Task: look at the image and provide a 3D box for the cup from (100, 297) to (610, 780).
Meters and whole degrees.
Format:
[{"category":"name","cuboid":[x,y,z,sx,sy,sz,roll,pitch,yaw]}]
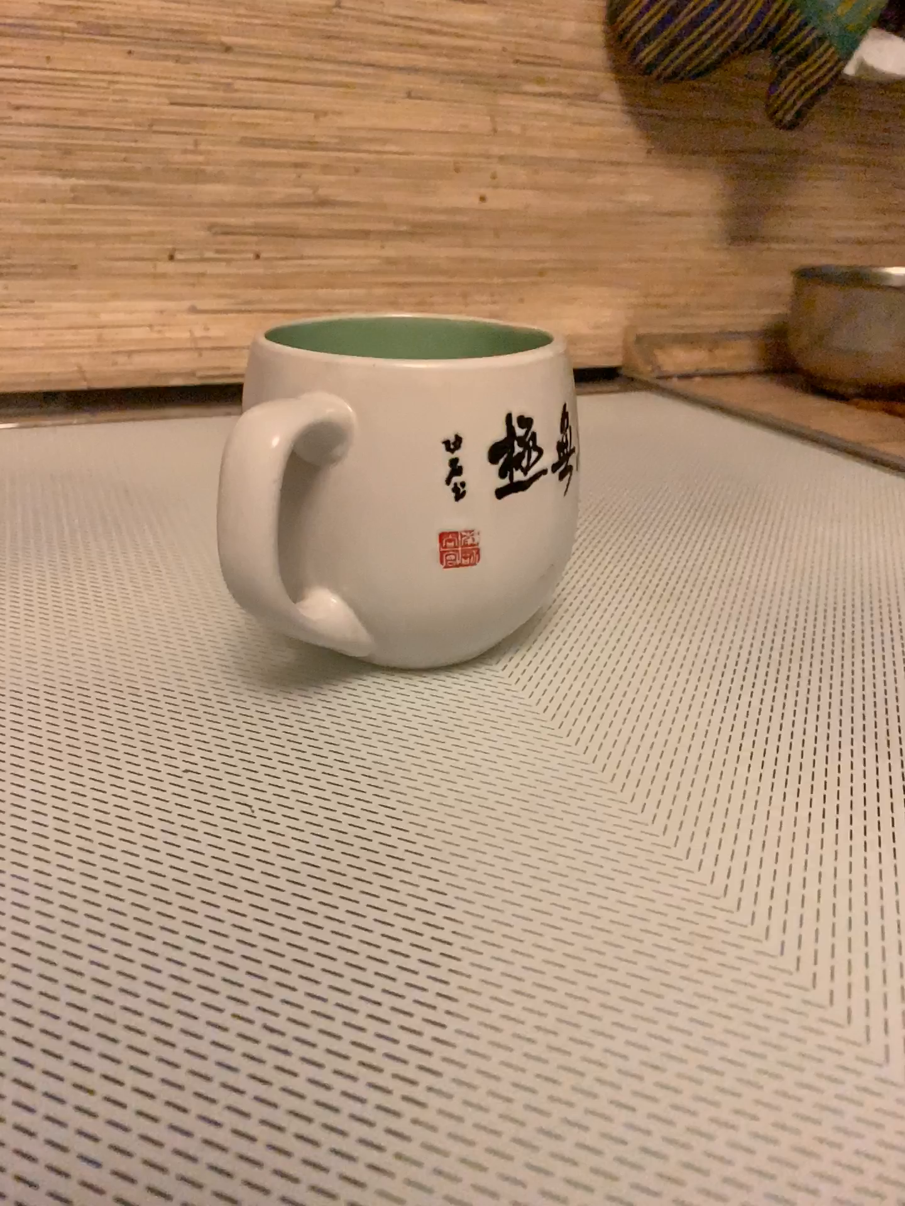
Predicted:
[{"category":"cup","cuboid":[-0.016,-0.031,0.263,0.088,0.091,0.124,10,24,18]}]
